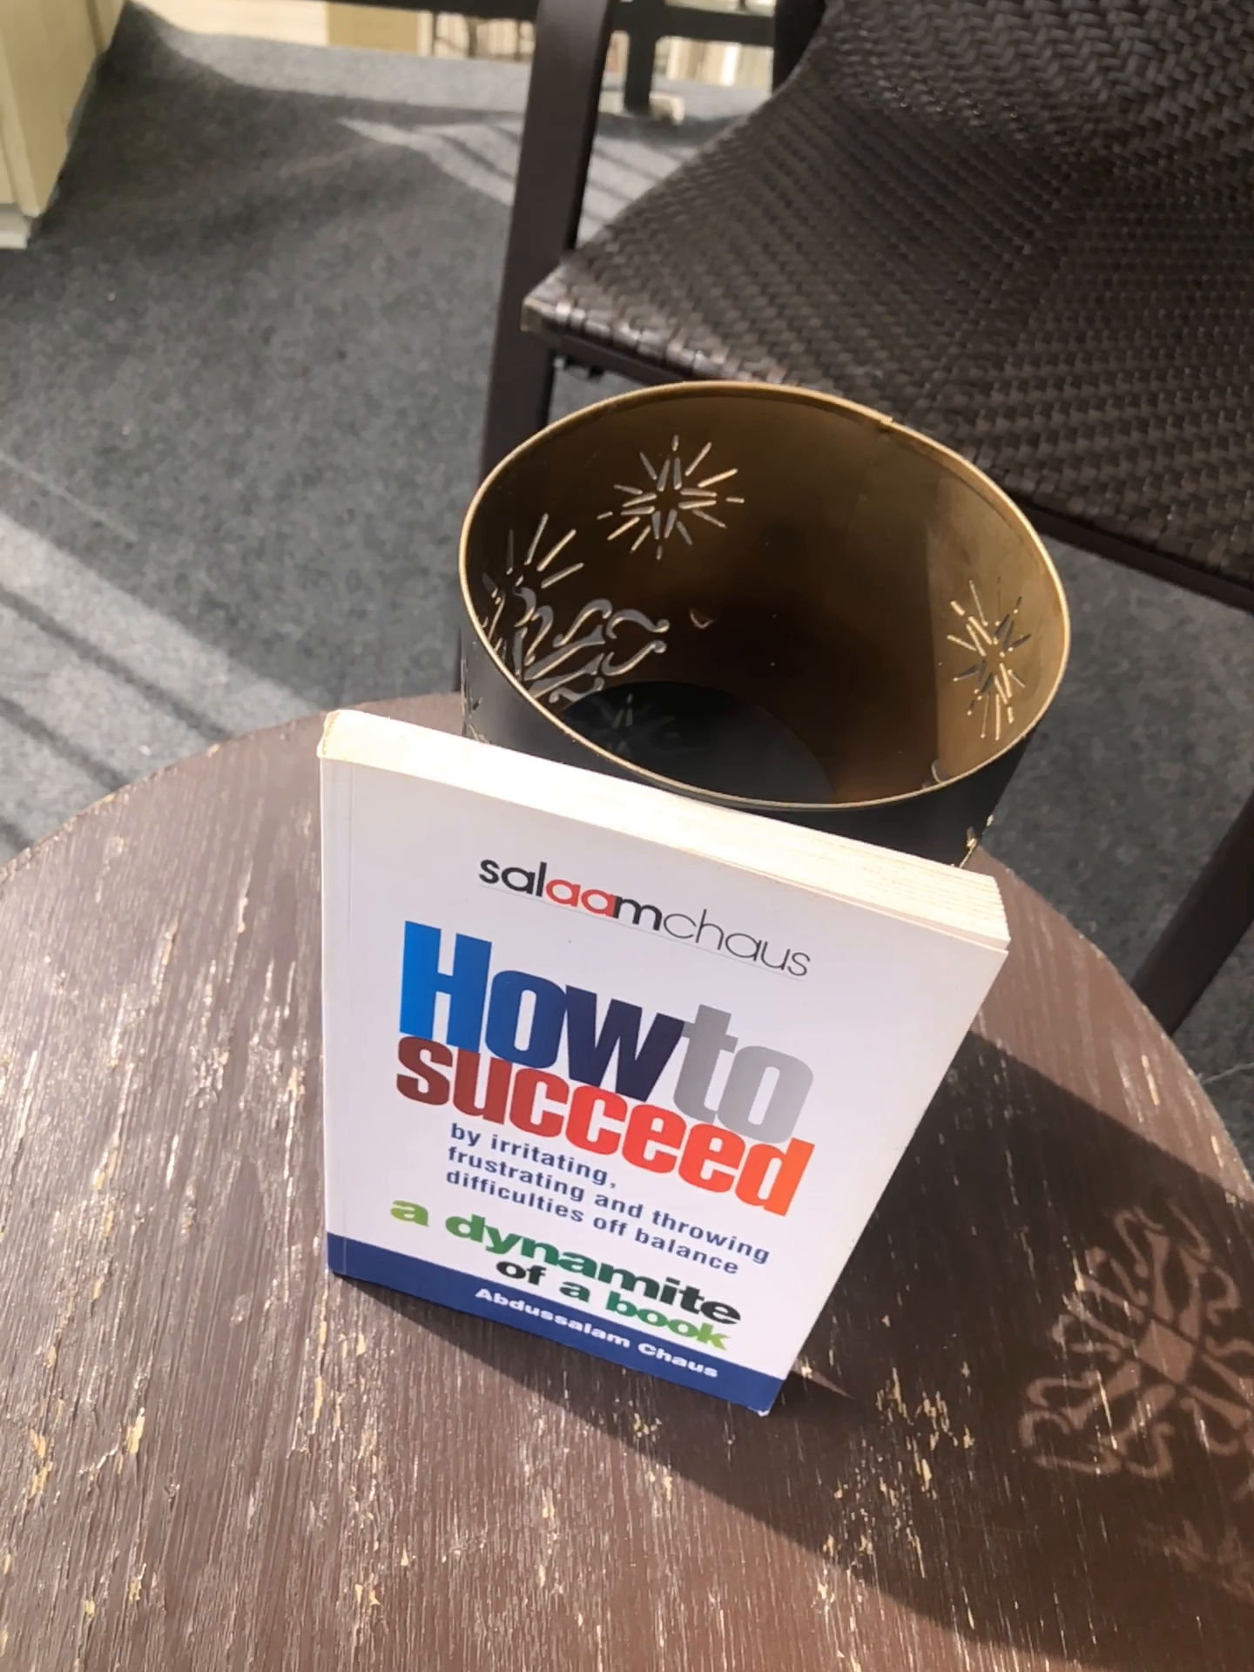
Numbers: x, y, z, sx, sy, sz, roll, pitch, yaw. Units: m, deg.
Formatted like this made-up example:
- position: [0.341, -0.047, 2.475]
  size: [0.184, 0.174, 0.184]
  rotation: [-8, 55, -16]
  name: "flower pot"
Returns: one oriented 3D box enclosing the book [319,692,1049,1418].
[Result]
- position: [-0.004, 0.069, 0.335]
  size: [0.138, 0.207, 0.018]
  rotation: [16, 45, 4]
  name: "book"
